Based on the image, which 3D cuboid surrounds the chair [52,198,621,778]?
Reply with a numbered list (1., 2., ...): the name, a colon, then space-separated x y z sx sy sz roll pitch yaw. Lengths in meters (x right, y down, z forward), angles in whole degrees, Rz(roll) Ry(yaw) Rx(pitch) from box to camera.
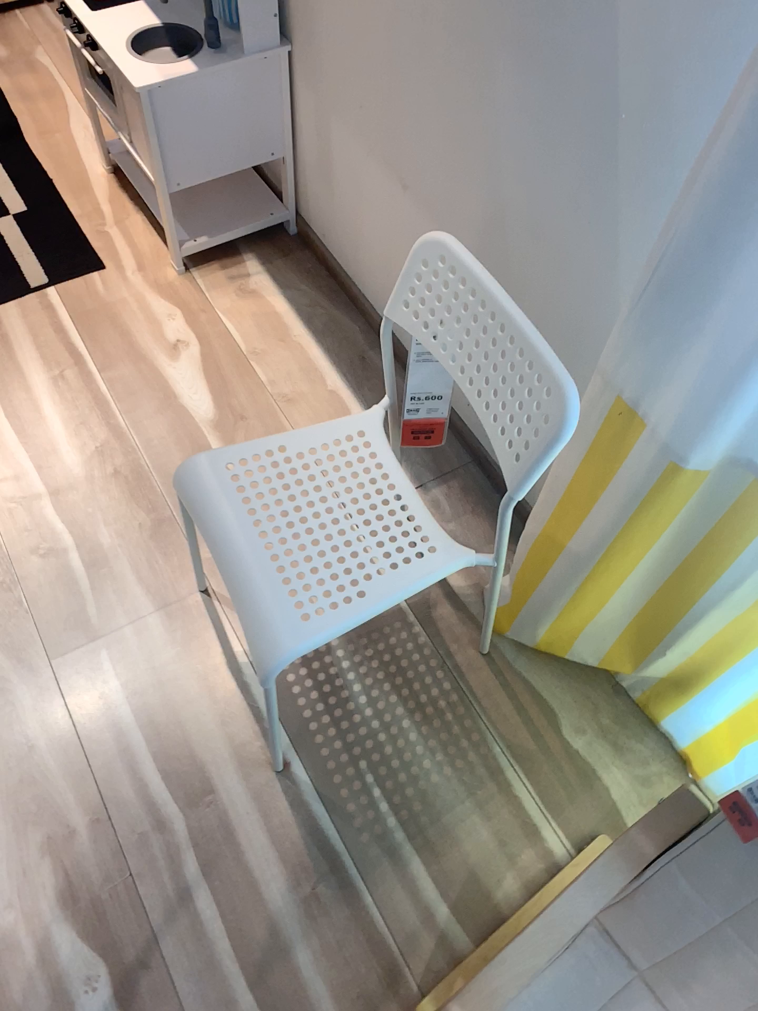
1. chair: -0.073 0.011 1.190 0.530 0.659 0.441 -24 61 -17
